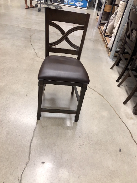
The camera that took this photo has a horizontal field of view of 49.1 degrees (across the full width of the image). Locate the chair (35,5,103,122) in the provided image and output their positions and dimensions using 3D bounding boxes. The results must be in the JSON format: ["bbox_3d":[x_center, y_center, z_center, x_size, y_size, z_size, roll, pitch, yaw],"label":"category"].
[{"bbox_3d":[-0.077,-0.269,1.649,0.490,1.027,0.652,5,38,-8],"label":"chair"}]
